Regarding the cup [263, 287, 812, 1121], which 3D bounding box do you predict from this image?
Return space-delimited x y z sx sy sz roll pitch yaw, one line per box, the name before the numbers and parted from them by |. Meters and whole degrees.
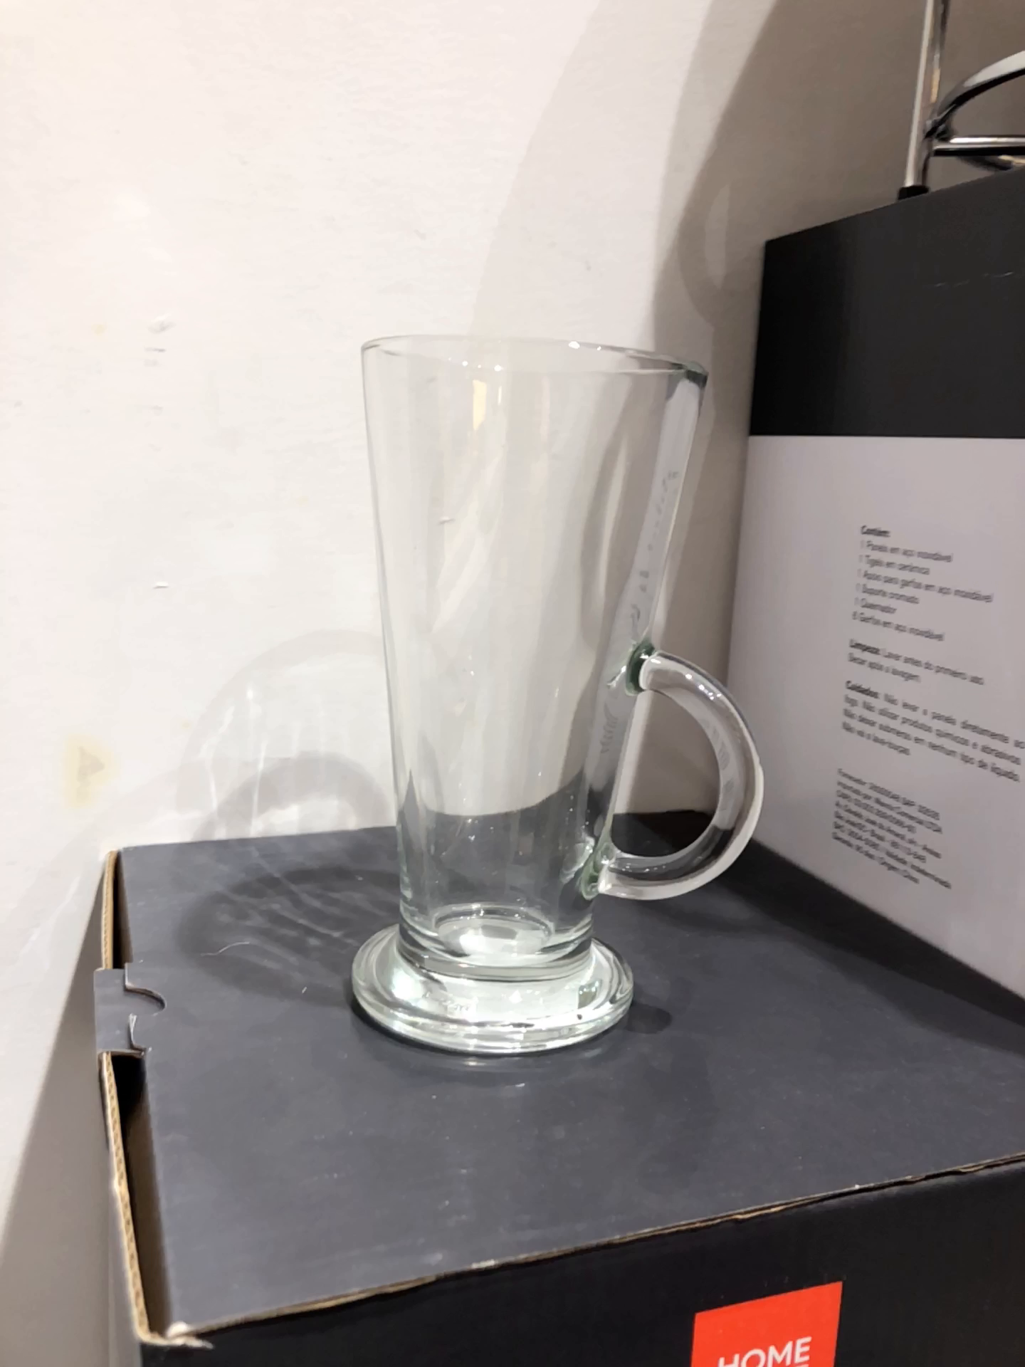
cup | 0.007 -0.004 0.253 0.090 0.149 0.080 8 12 20
